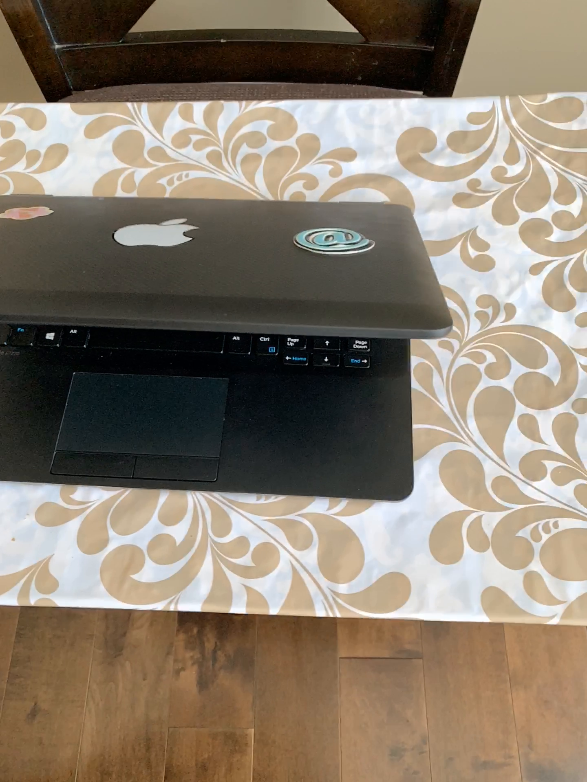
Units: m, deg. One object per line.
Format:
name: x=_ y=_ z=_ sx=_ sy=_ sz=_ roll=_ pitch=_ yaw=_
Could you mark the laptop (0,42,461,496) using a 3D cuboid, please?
laptop: x=-0.079 y=-0.064 z=0.332 sx=0.300 sy=0.127 sz=0.199 roll=3 pitch=65 yaw=3
